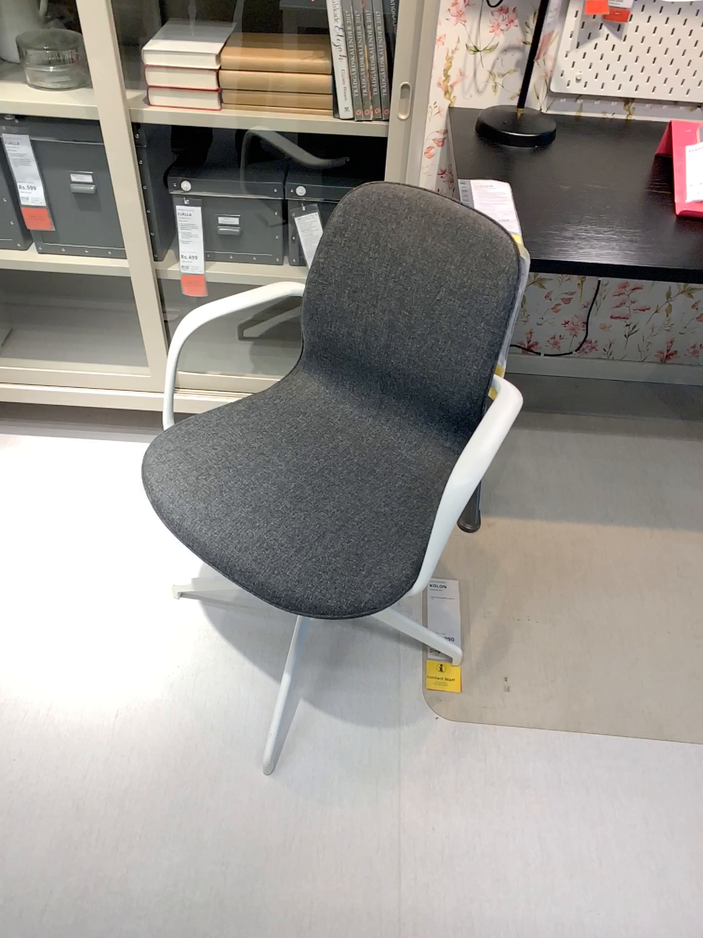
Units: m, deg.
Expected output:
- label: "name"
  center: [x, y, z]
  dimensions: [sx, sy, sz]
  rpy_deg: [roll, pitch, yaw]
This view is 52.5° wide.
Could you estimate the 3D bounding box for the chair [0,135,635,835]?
- label: "chair"
  center: [-0.058, 0.025, 1.245]
  dimensions: [0.621, 0.837, 0.641]
  rpy_deg: [30, 51, 23]
